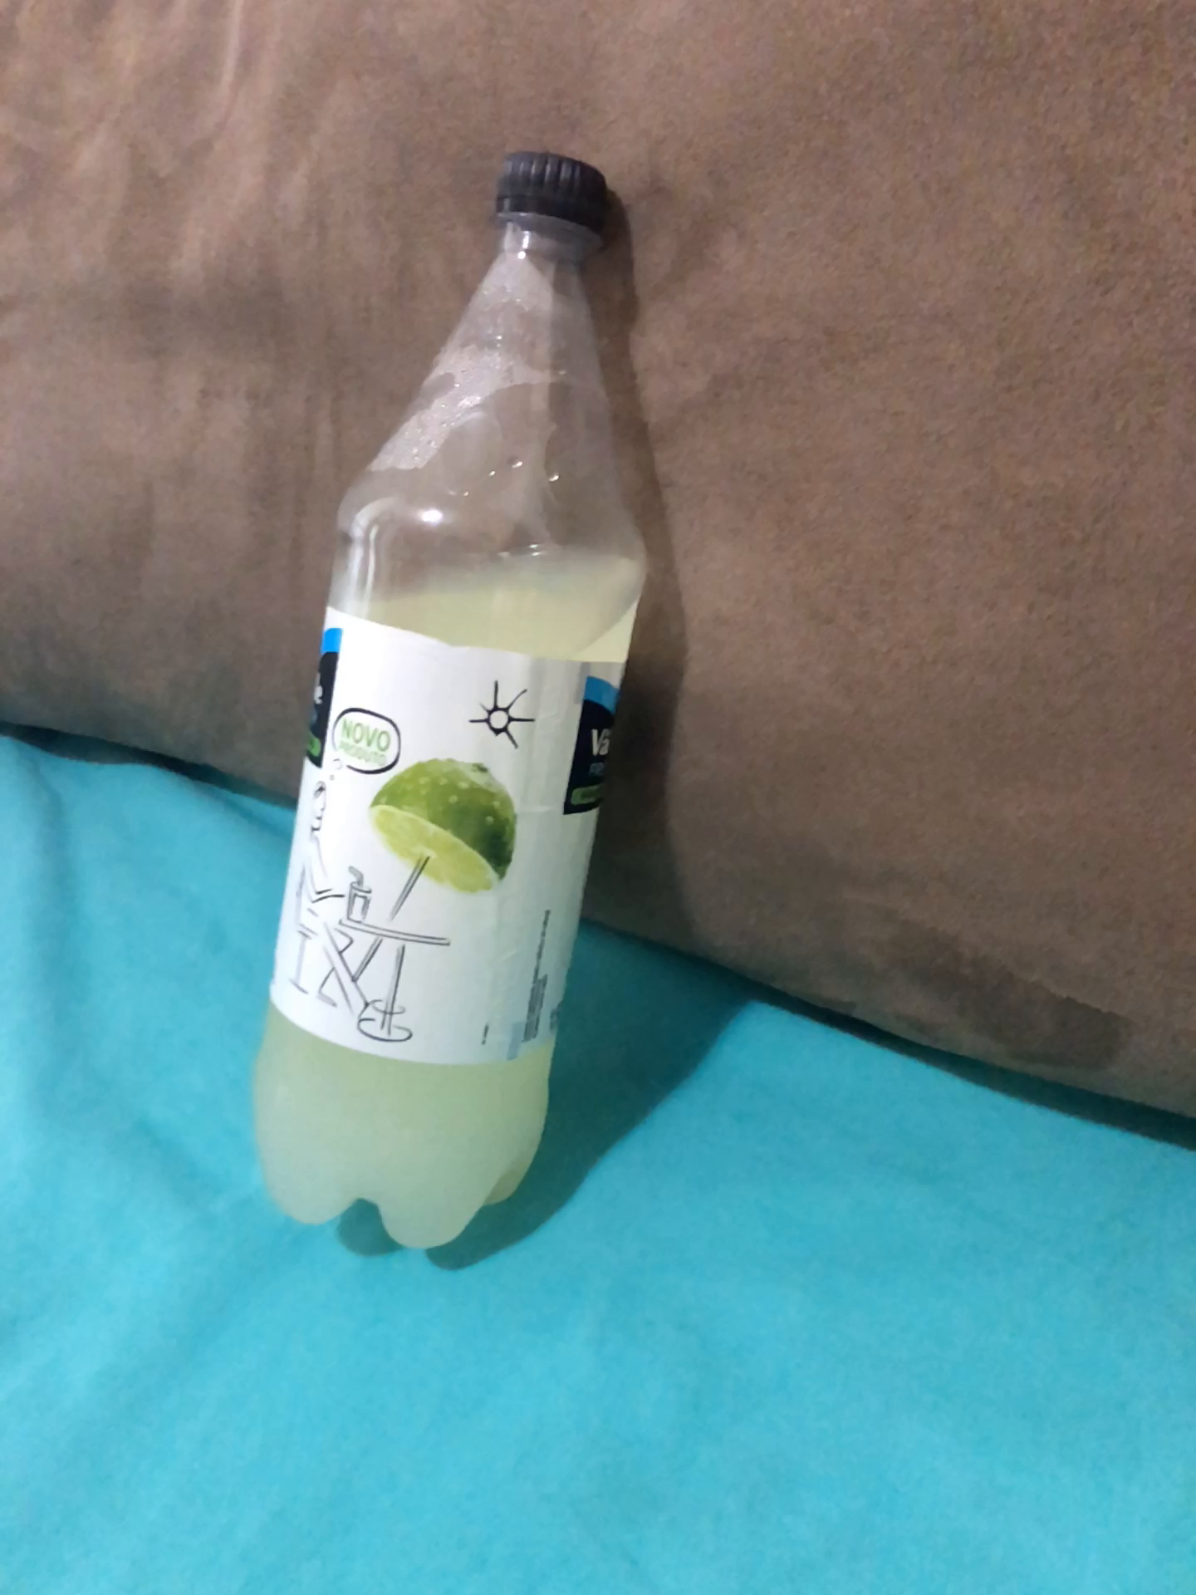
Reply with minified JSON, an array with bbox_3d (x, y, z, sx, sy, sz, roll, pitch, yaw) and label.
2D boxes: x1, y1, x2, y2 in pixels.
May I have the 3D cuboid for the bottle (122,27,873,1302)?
[{"bbox_3d":[-0.030,-0.036,0.400,0.100,0.330,0.100,16,2,-1],"label":"bottle"}]
